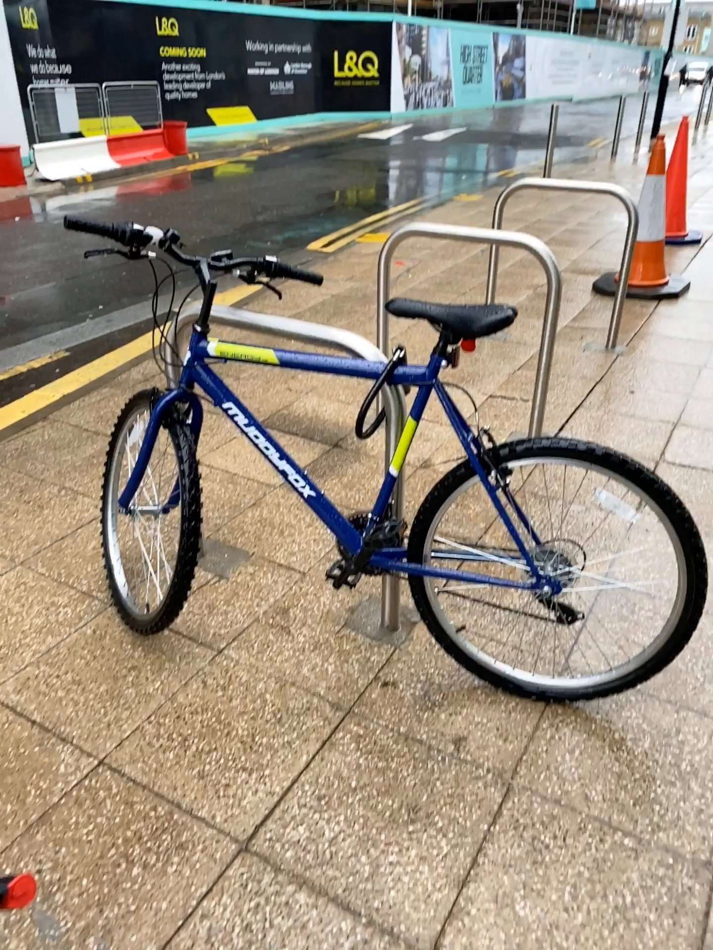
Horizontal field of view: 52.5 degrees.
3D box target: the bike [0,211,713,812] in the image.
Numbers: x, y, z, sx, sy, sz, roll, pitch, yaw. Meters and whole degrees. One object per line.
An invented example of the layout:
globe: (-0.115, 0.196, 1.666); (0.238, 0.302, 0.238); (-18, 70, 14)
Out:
bike: (0.008, -0.044, 1.727); (1.593, 1.012, 0.600); (10, 31, 23)
